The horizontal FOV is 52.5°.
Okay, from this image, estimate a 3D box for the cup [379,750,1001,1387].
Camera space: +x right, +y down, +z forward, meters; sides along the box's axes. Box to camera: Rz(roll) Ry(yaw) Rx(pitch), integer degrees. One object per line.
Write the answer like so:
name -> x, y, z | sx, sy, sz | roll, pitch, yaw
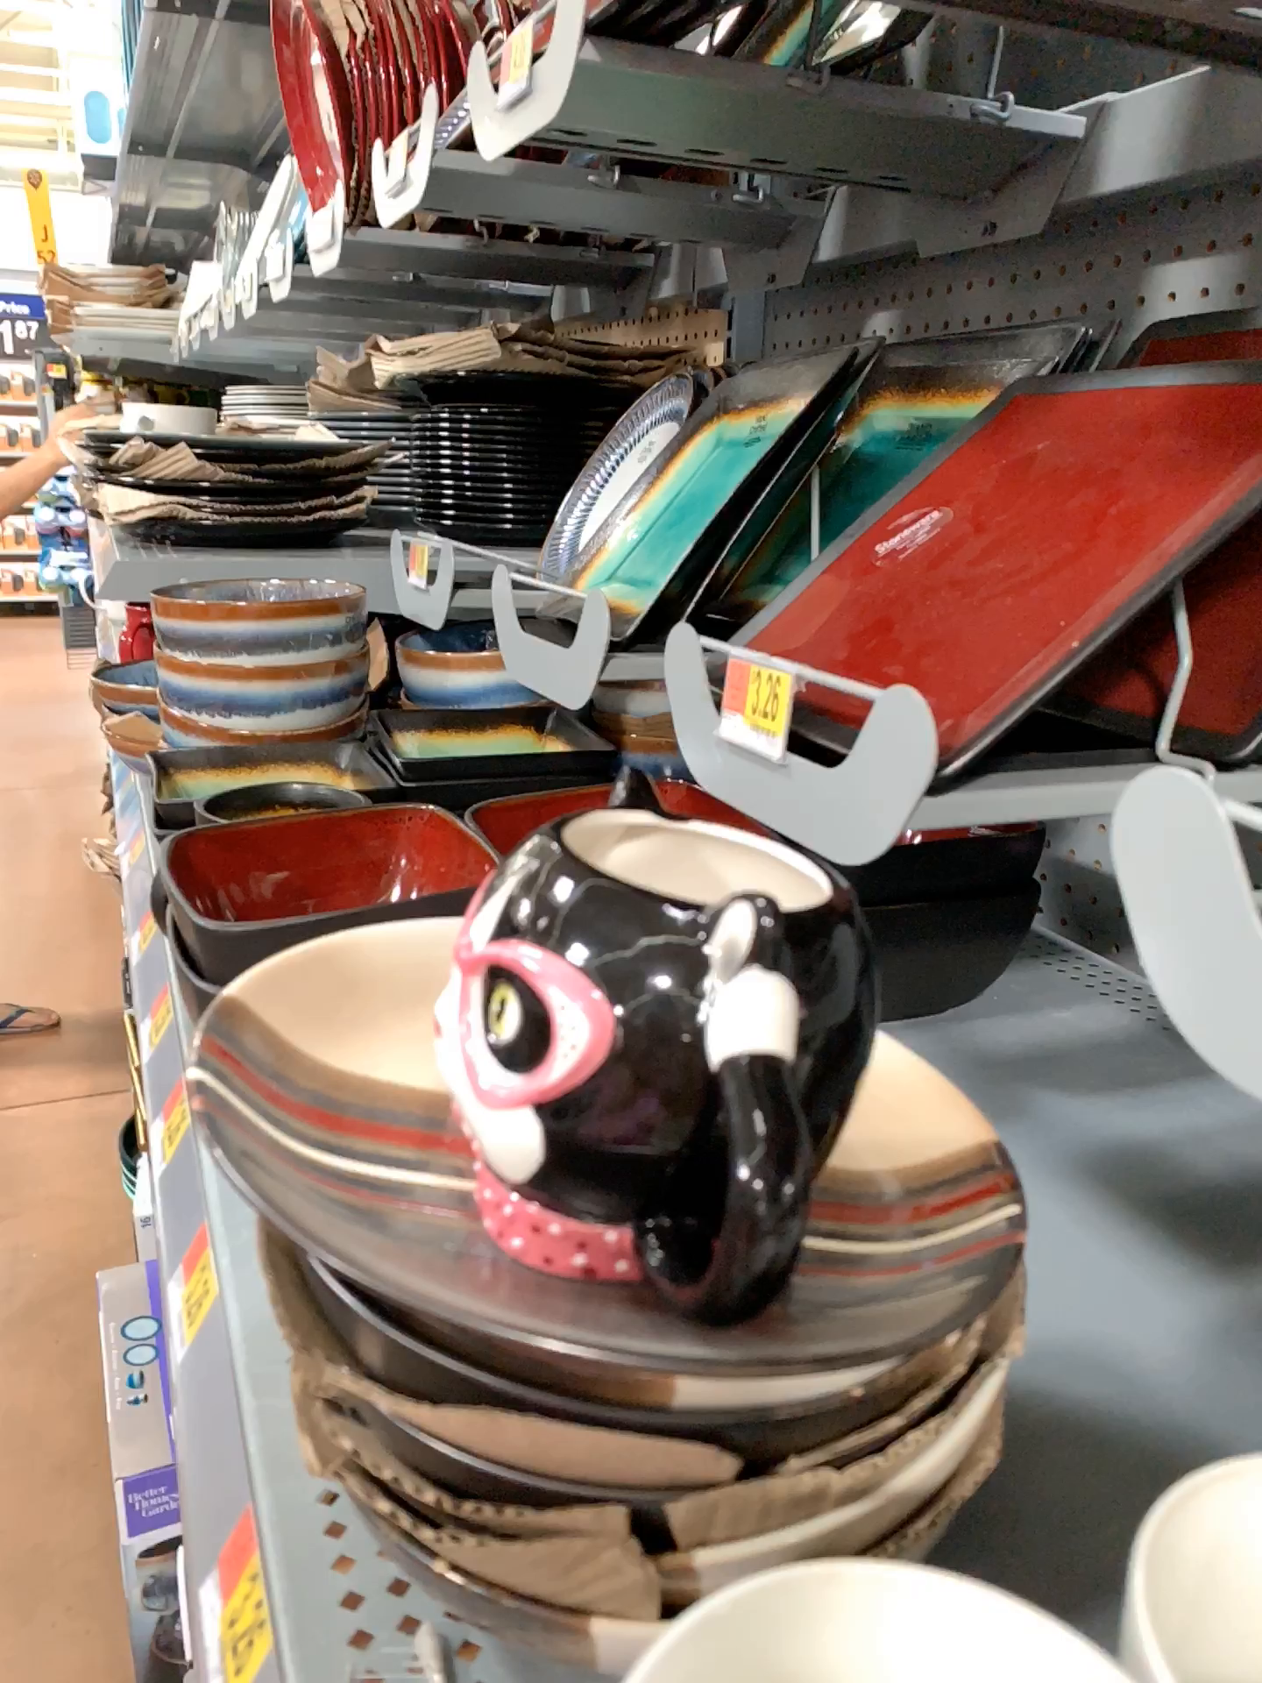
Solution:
cup -> -0.002, 0.033, 0.284 | 0.096, 0.074, 0.145 | -2, 18, -14
